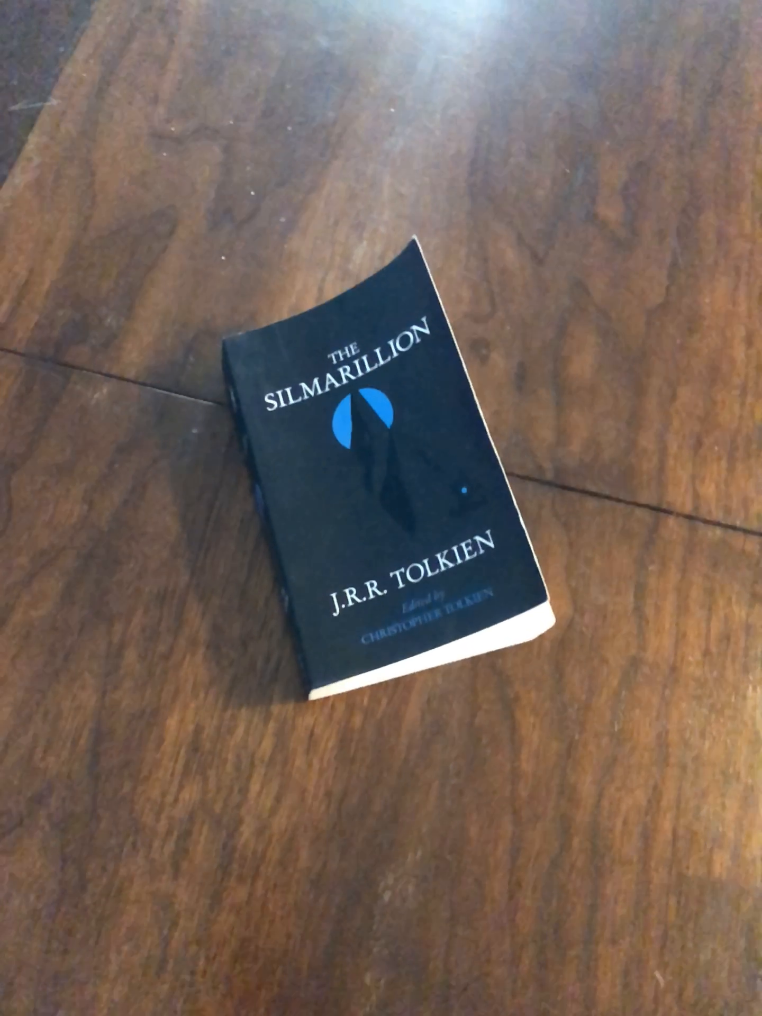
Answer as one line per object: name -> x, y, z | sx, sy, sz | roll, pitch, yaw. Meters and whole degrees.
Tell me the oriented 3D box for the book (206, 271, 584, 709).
book -> 0.000, -0.015, 0.390 | 0.119, 0.040, 0.180 | -14, 70, -12
